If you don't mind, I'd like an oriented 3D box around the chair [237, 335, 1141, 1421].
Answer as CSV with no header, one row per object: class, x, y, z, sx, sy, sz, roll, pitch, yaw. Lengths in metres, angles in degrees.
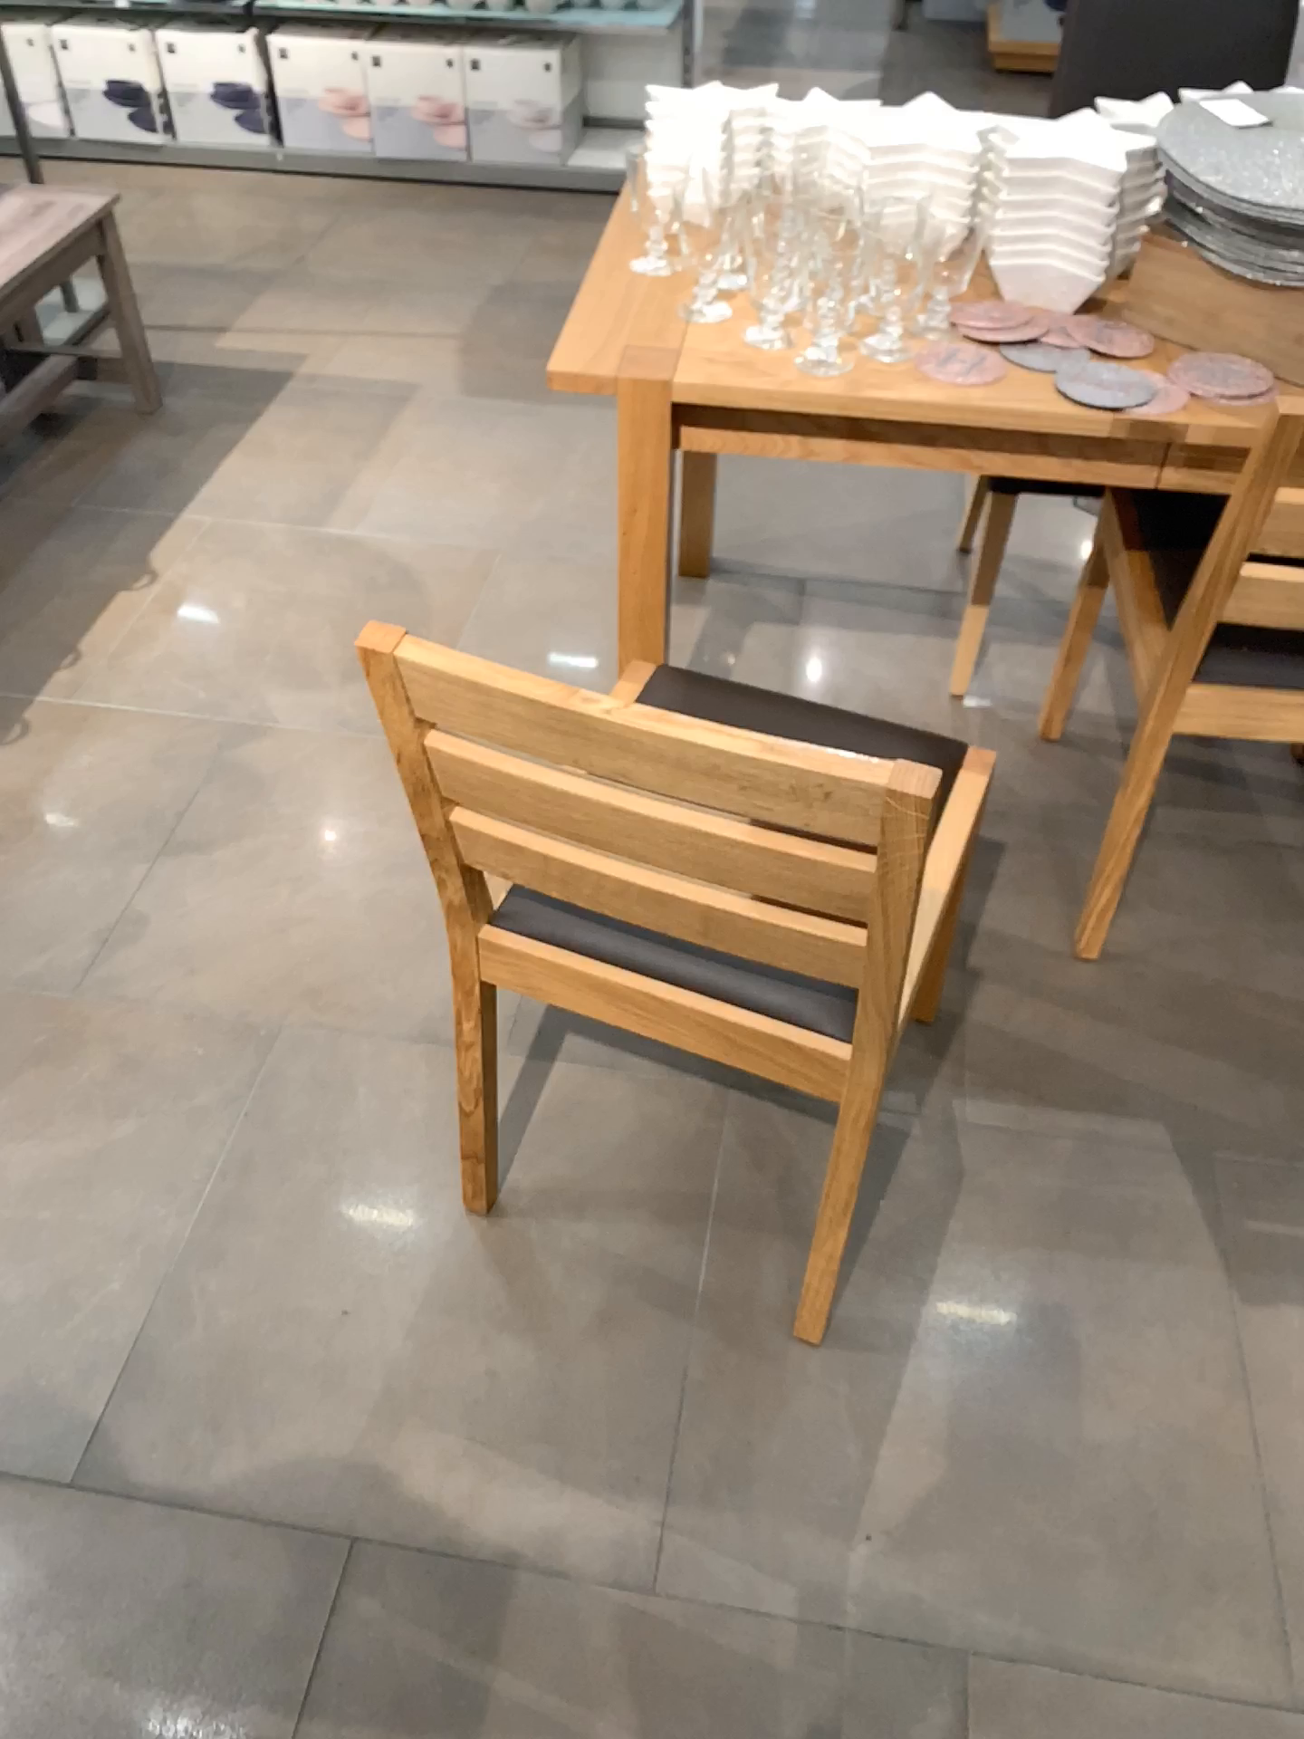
chair,0.065,0.015,1.362,0.563,0.815,0.568,16,46,16
